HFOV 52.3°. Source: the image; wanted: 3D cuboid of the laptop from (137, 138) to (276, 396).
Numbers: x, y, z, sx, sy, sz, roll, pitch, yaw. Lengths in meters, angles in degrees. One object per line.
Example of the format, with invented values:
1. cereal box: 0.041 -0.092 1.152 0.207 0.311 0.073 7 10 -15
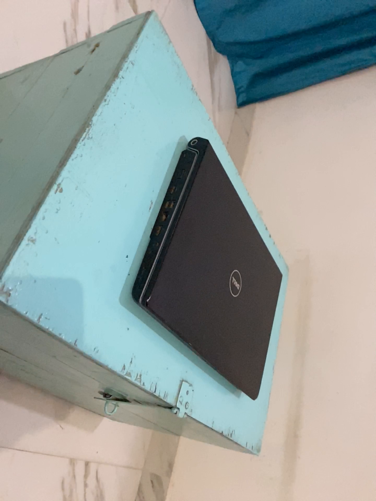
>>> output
1. laptop: 0.067 0.052 0.652 0.386 0.004 0.269 51 49 -44
